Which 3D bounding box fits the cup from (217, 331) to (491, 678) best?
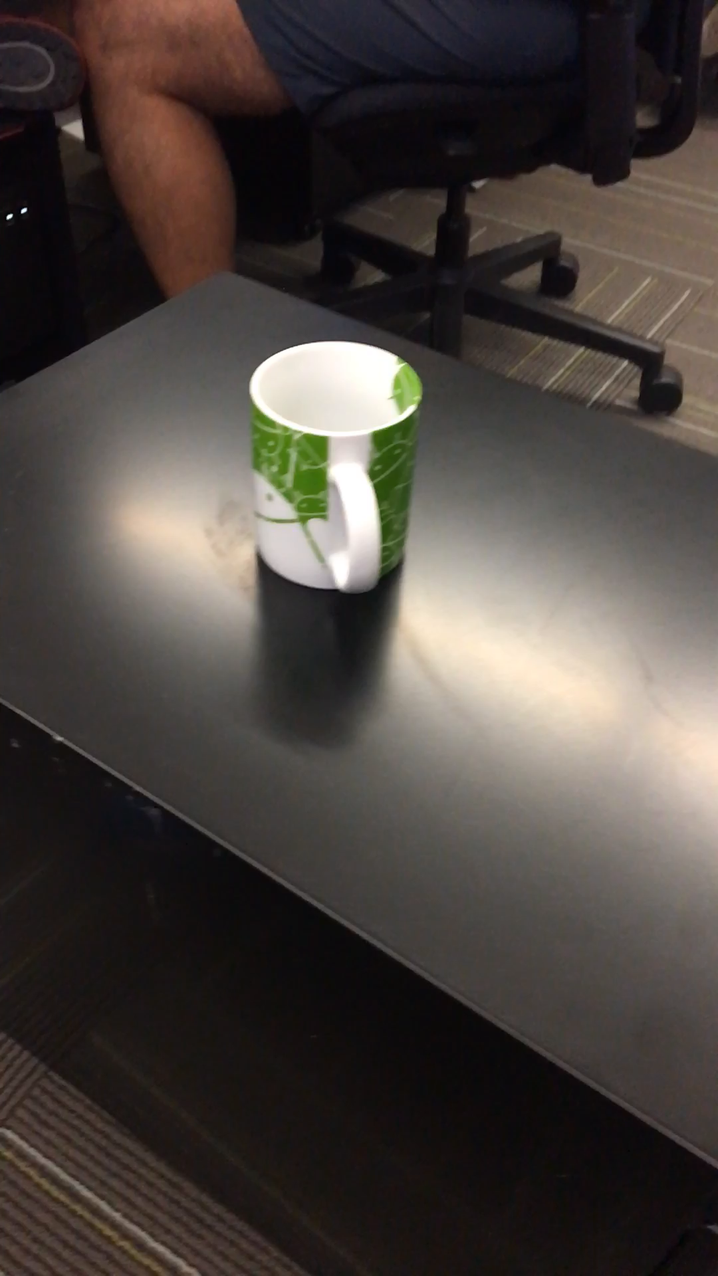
[{"bbox_3d":[-0.008,-0.070,0.540,0.090,0.110,0.120,-14,47,-18],"label":"cup"}]
